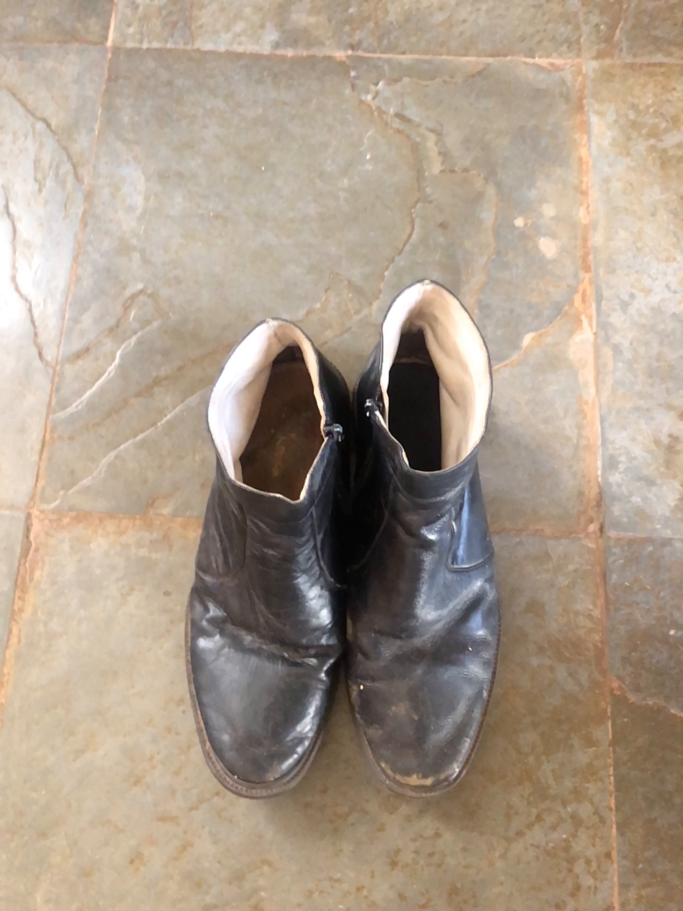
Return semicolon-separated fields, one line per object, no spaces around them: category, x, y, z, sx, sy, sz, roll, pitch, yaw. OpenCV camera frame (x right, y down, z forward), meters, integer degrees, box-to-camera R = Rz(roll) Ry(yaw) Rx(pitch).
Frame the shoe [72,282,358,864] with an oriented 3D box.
shoe;-0.048;0.060;0.411;0.100;0.160;0.251;3;74;2

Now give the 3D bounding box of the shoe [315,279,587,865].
shoe;0.043;0.059;0.405;0.100;0.160;0.250;-2;74;1
